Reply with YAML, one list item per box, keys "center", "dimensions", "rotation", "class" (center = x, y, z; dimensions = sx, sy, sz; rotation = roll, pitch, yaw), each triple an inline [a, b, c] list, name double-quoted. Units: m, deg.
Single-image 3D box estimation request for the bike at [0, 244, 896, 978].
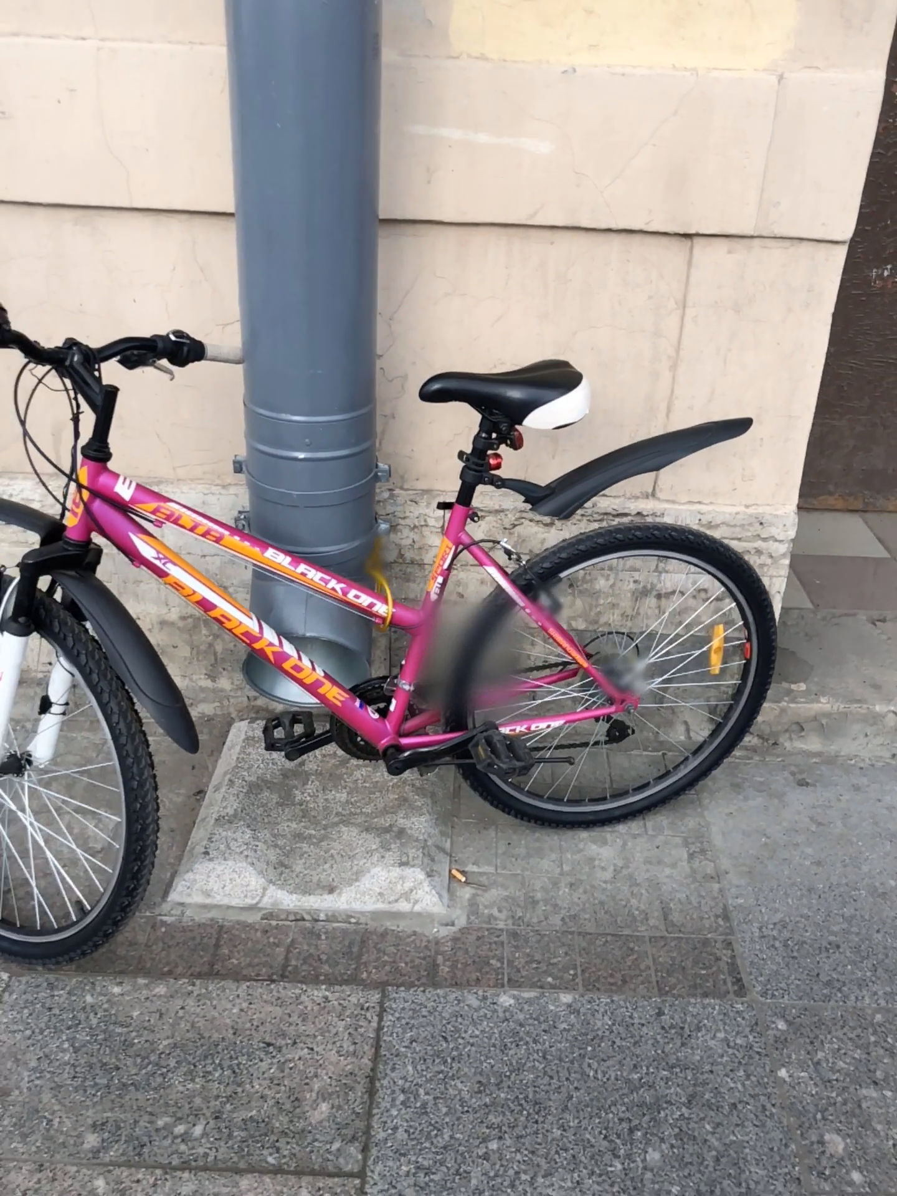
- center: [-0.212, -0.015, 1.642]
  dimensions: [1.574, 0.974, 0.626]
  rotation: [-3, 29, -6]
  class: "bike"
